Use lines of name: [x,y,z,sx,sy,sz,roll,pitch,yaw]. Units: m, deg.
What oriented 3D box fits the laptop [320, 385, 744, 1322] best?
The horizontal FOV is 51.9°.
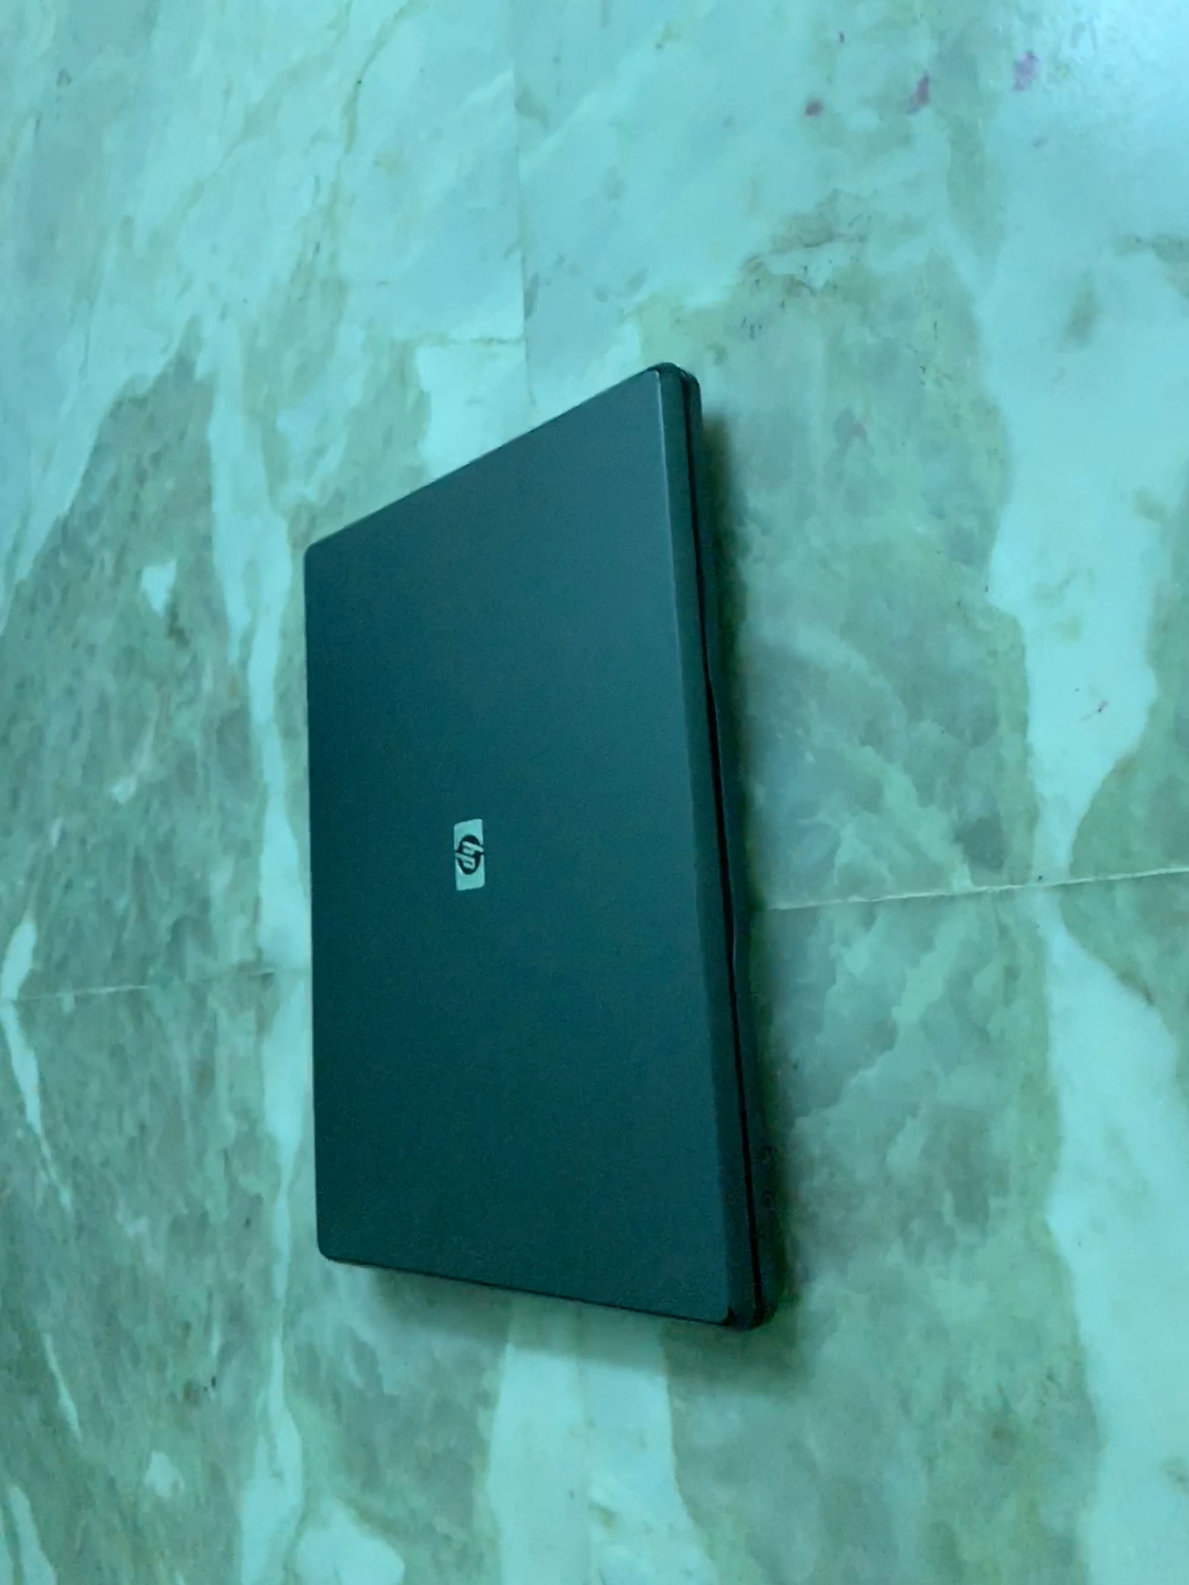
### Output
laptop: [-0.043,0.027,0.483,0.228,0.001,0.310,-13,77,45]
